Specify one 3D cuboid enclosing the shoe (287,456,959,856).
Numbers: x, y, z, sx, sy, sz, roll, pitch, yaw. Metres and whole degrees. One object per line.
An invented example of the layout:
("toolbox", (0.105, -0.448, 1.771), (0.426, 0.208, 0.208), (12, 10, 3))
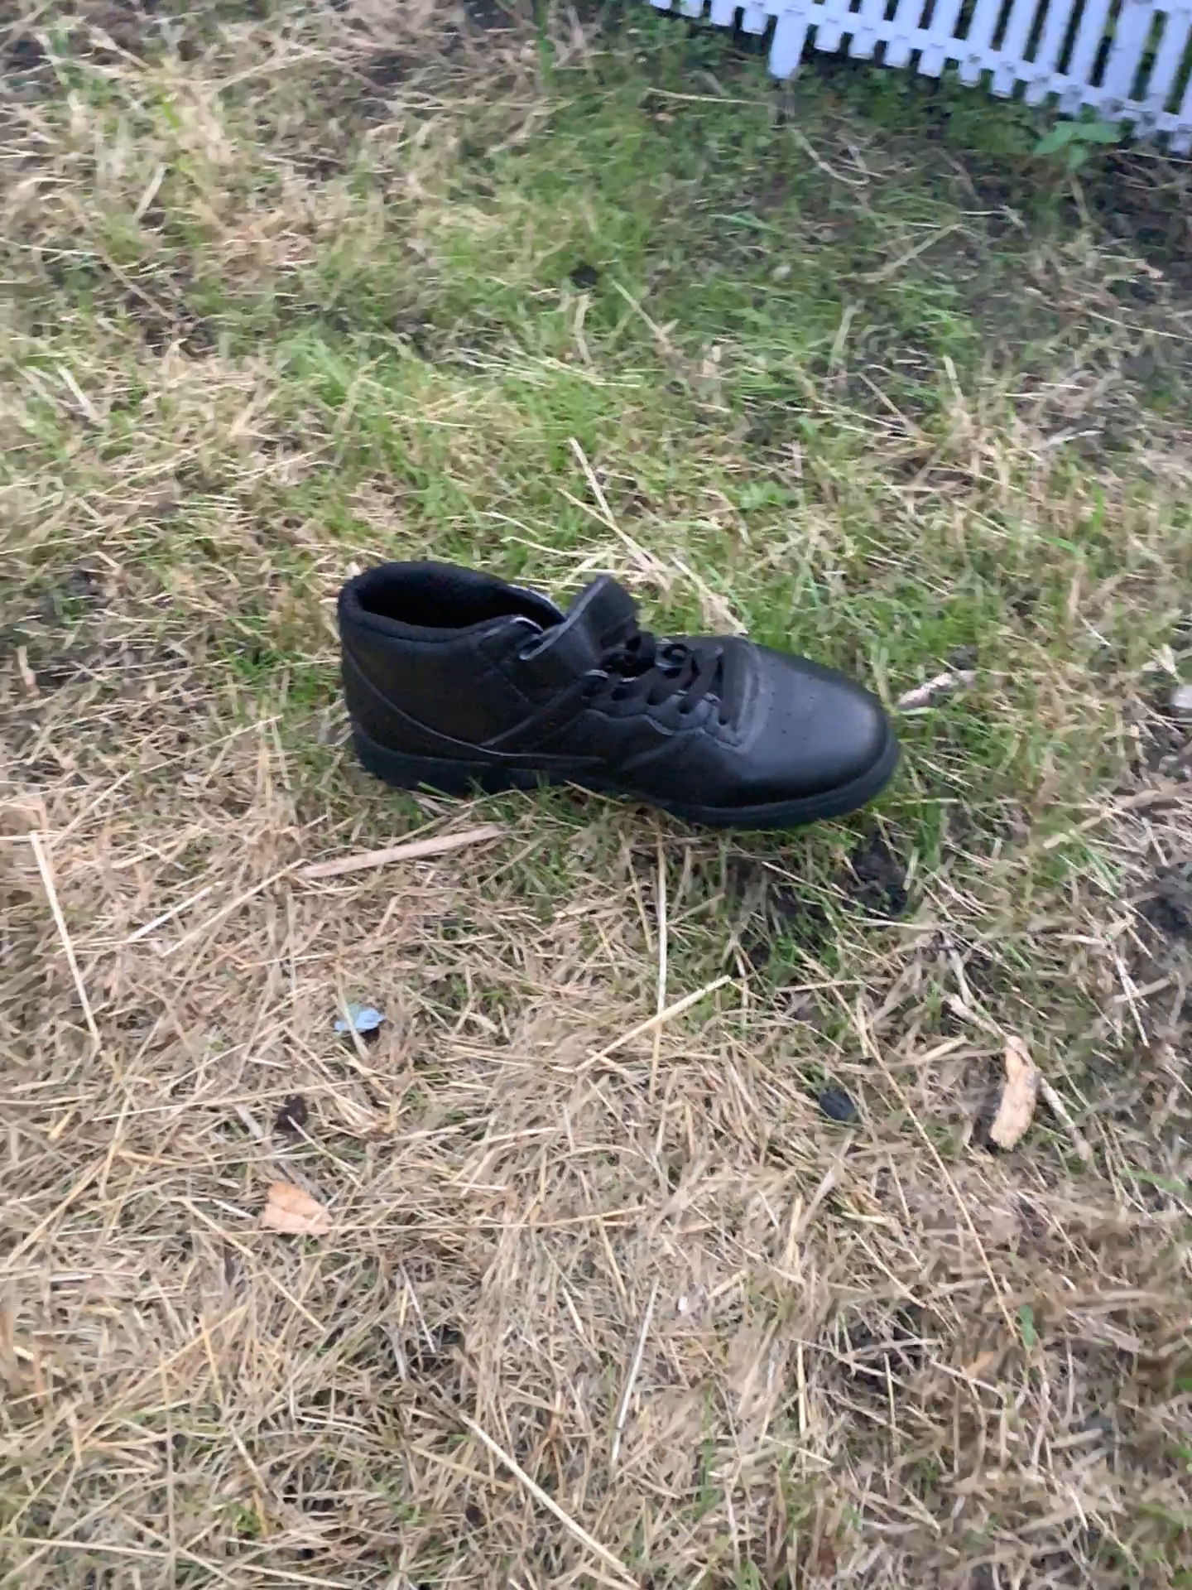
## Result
("shoe", (0.014, -0.063, 0.567), (0.270, 0.119, 0.111), (6, 54, 3))
